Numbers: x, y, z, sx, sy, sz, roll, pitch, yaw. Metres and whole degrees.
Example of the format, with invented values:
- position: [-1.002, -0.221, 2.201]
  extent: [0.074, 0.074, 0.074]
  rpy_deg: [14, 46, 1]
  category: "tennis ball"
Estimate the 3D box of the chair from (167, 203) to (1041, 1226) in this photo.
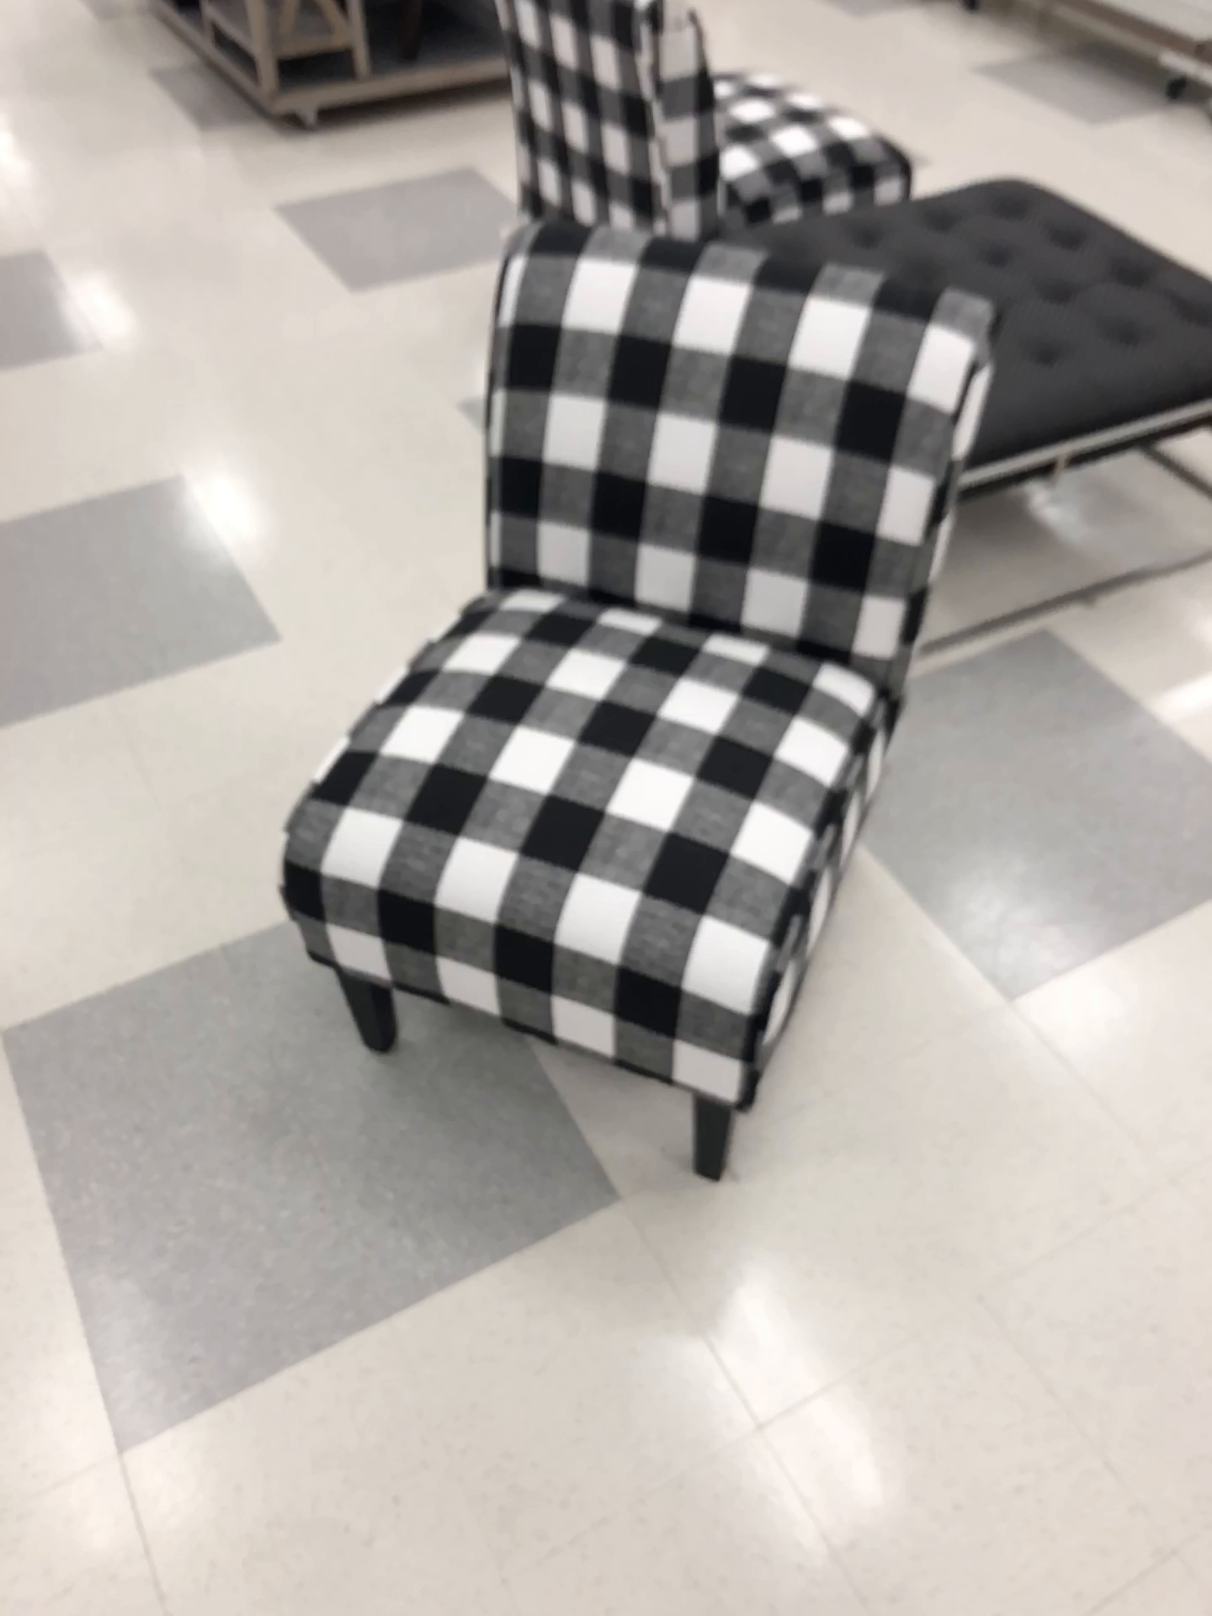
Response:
- position: [0.043, -0.117, 1.591]
  extent: [0.624, 0.833, 0.702]
  rpy_deg: [17, 48, 15]
  category: "chair"

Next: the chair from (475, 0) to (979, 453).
- position: [0.212, -1.354, 2.812]
  extent: [0.730, 0.833, 0.627]
  rpy_deg: [-21, 49, -20]
  category: "chair"
